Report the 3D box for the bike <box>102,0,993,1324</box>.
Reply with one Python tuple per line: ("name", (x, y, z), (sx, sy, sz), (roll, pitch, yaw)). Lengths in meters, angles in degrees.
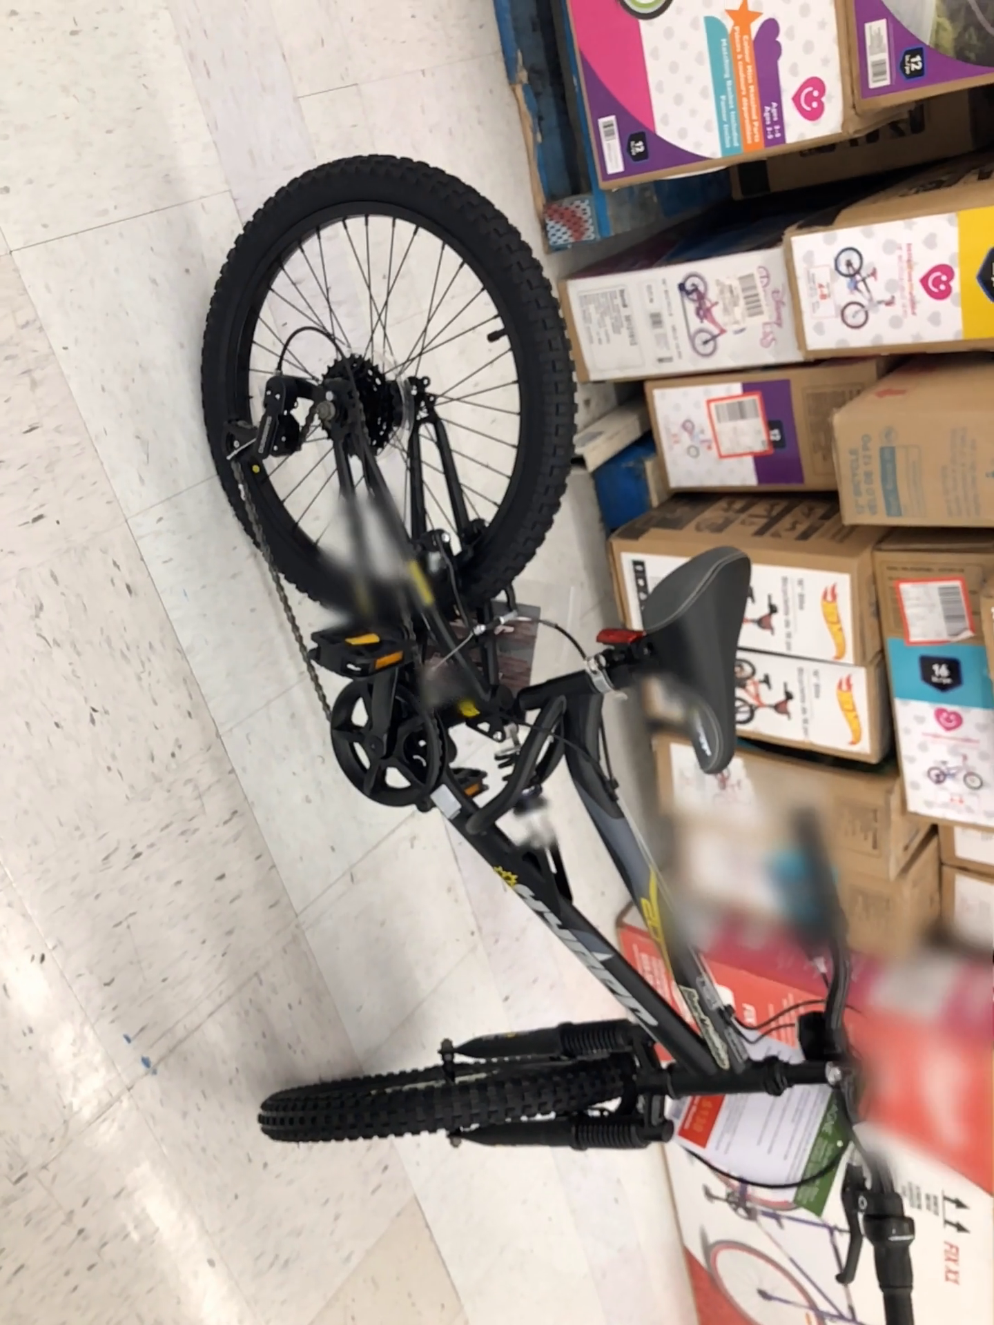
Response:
("bike", (0.235, 0.042, 1.352), (0.525, 0.849, 1.260), (-33, 118, -43))
